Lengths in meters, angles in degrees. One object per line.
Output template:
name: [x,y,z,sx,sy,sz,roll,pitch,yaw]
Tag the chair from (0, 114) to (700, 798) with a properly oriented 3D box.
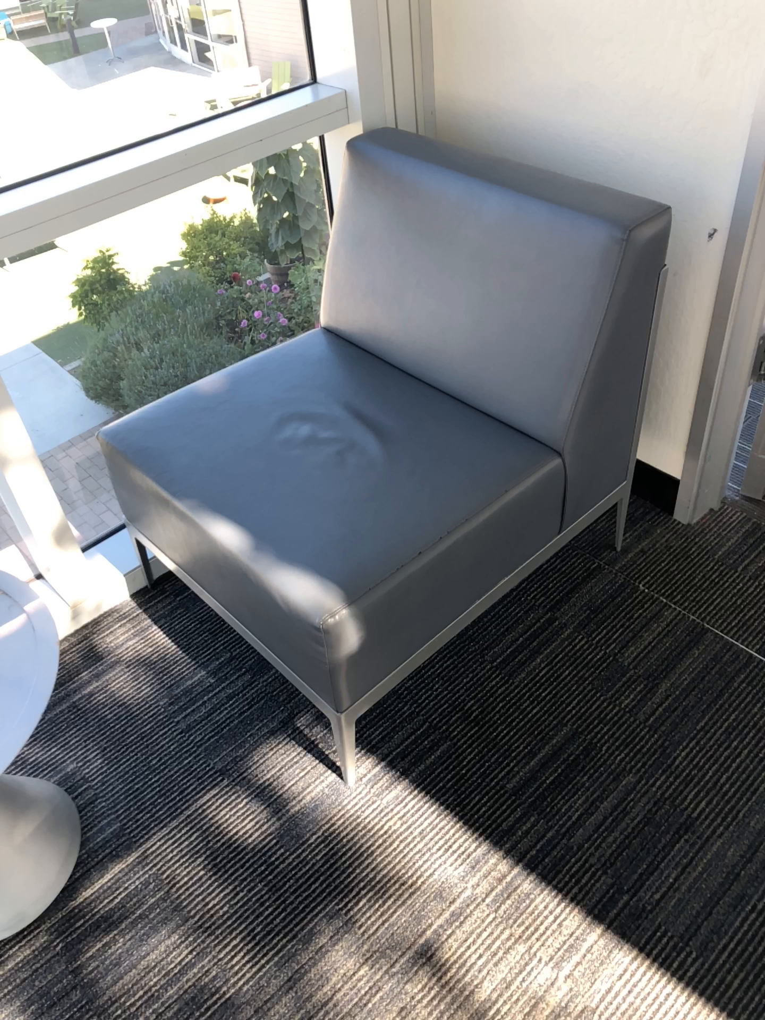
chair: [-0.046,-0.165,1.506,0.751,0.706,0.773,-33,48,-27]
